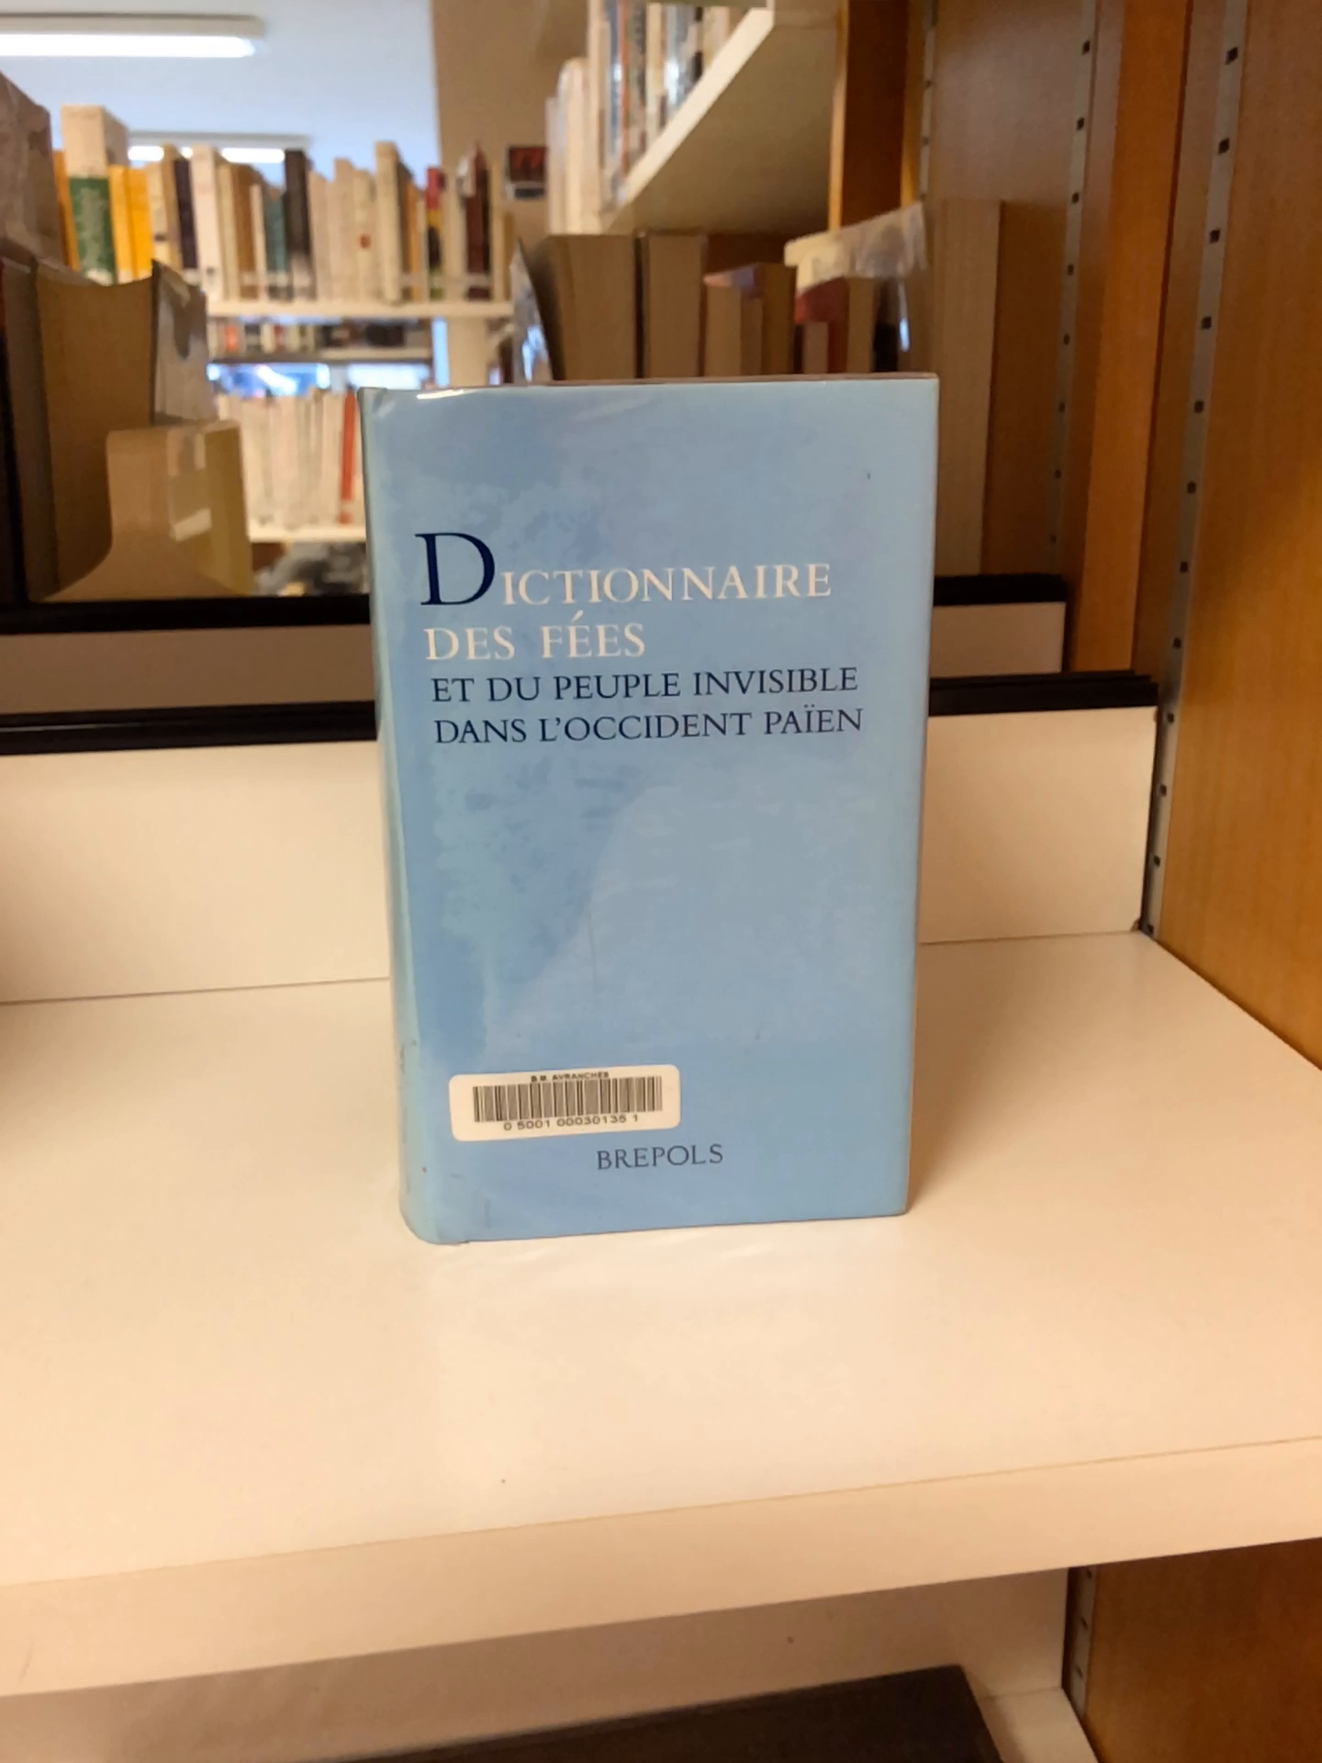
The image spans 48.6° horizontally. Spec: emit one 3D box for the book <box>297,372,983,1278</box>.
[{"bbox_3d":[-0.004,-0.014,0.325,0.125,0.186,0.060,-2,19,-5],"label":"book"}]
